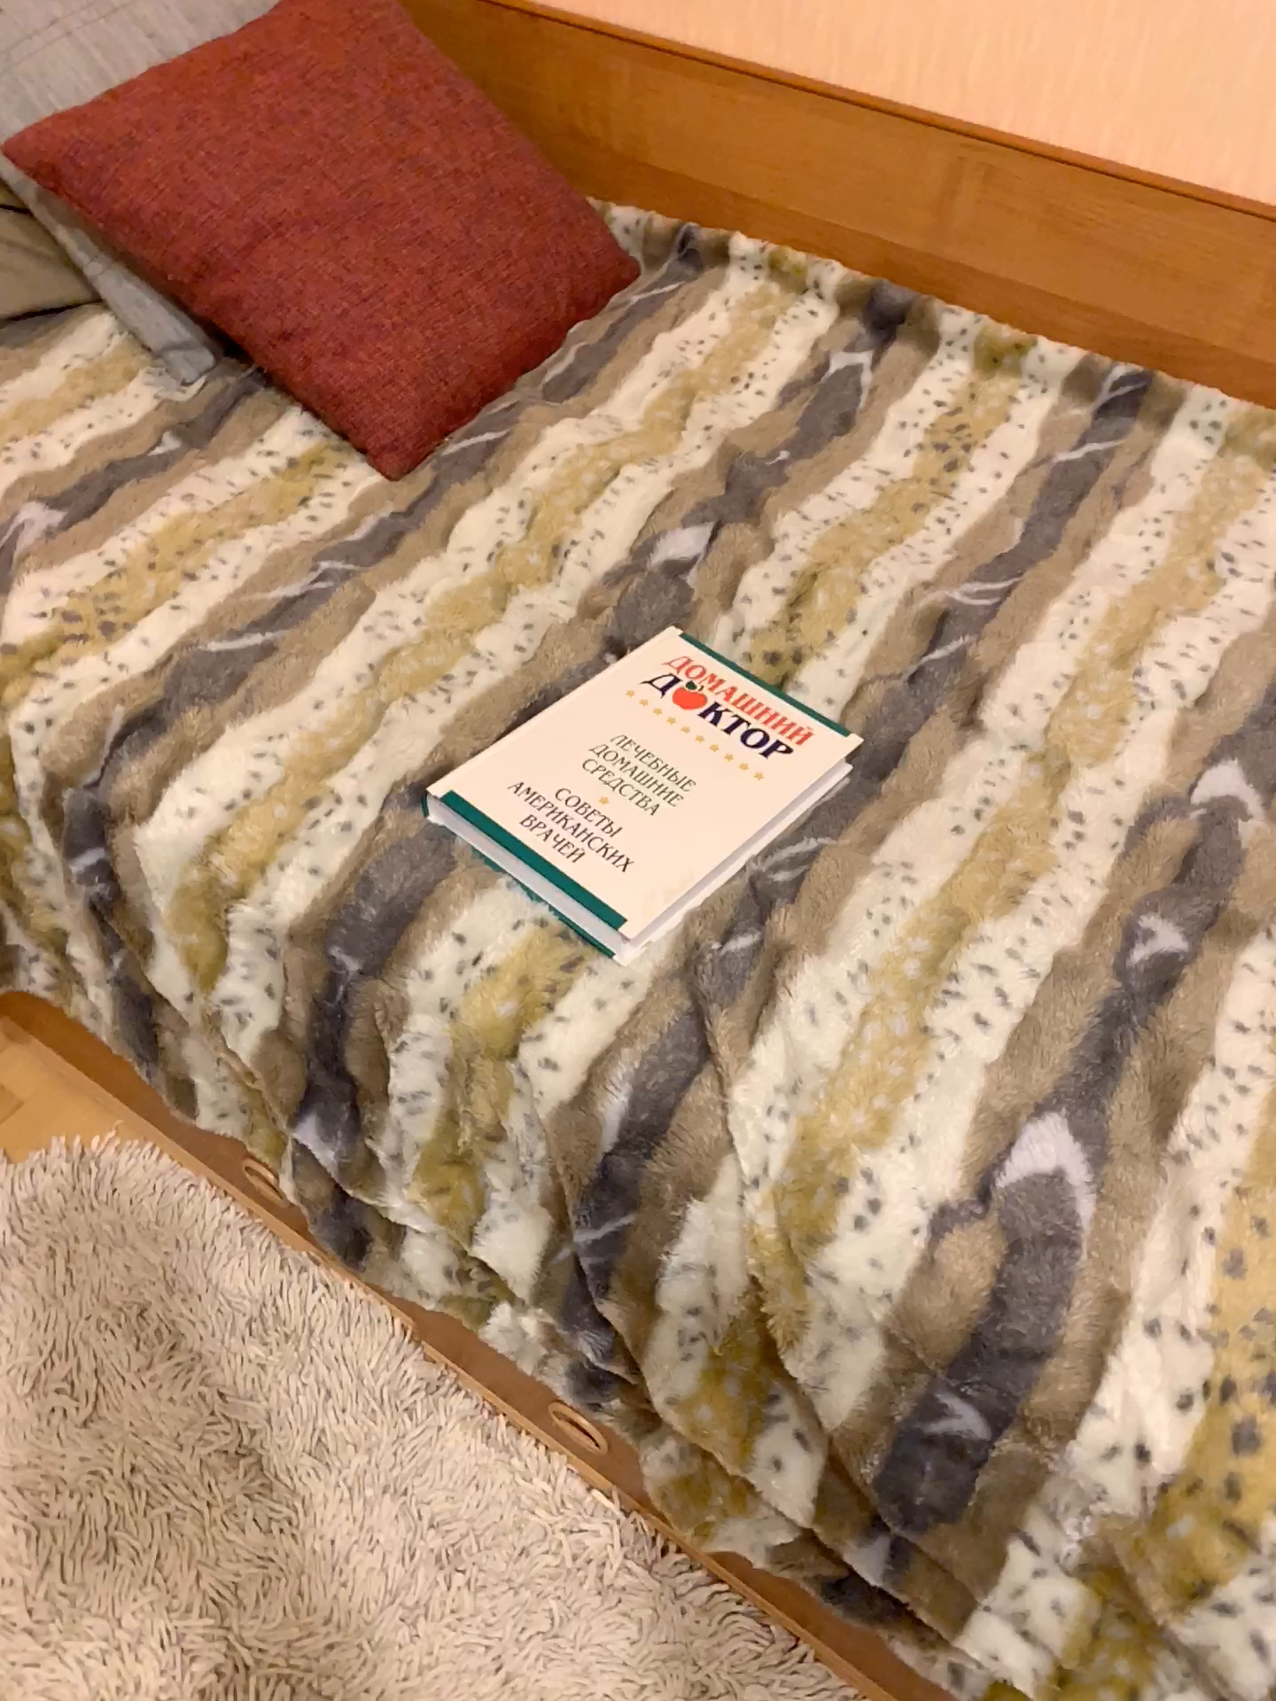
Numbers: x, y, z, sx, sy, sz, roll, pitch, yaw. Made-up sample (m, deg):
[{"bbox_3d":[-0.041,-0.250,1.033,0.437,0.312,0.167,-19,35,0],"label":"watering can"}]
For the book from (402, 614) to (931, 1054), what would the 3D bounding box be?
[{"bbox_3d":[0.020,-0.024,0.752,0.191,0.040,0.241,35,56,24],"label":"book"}]
